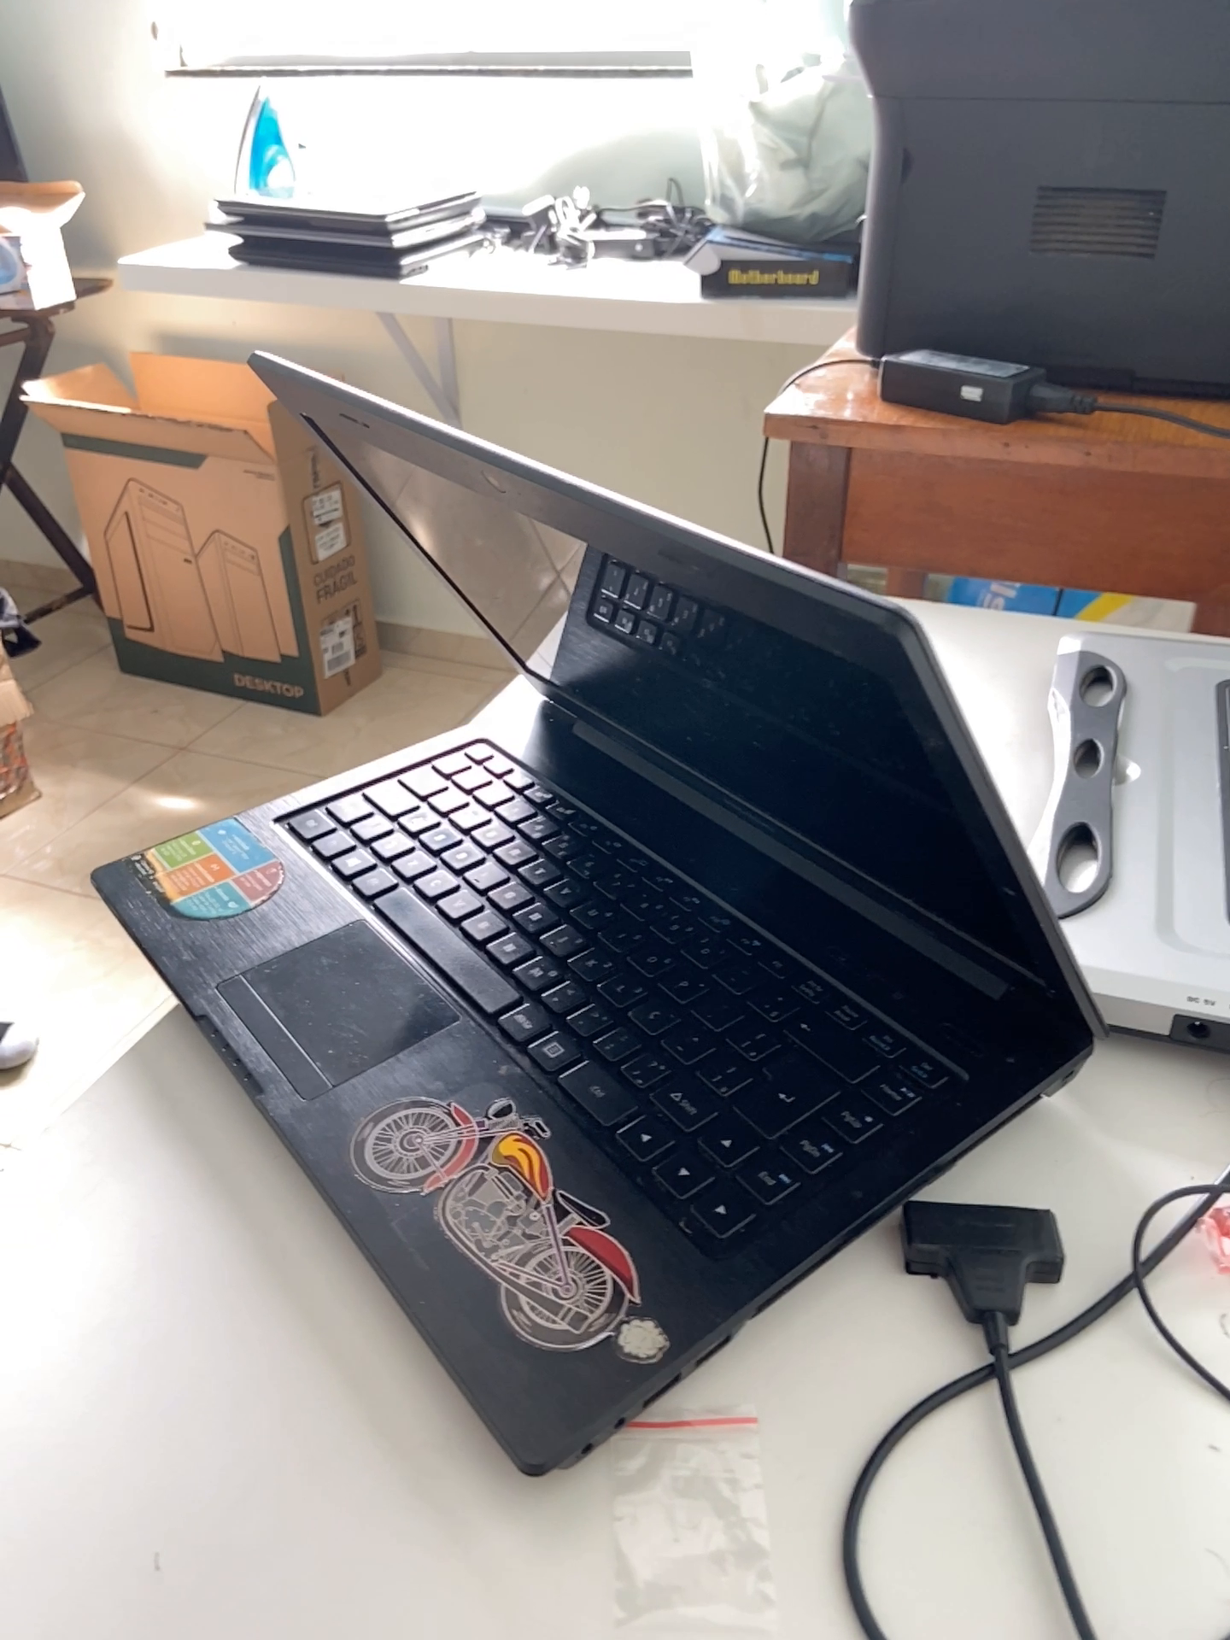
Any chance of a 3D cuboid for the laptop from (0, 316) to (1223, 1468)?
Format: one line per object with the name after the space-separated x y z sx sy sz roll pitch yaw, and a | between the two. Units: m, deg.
-0.032 -0.031 0.432 0.233 0.189 0.331 -24 38 -30 | laptop
